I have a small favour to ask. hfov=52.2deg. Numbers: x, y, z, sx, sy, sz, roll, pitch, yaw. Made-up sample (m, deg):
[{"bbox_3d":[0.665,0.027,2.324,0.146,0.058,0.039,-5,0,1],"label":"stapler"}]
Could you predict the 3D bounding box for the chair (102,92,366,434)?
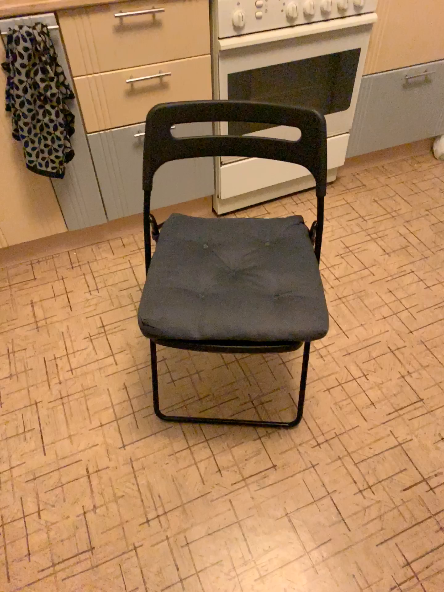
[{"bbox_3d":[0.032,-0.046,1.203,0.440,0.776,0.482,1,47,2],"label":"chair"}]
